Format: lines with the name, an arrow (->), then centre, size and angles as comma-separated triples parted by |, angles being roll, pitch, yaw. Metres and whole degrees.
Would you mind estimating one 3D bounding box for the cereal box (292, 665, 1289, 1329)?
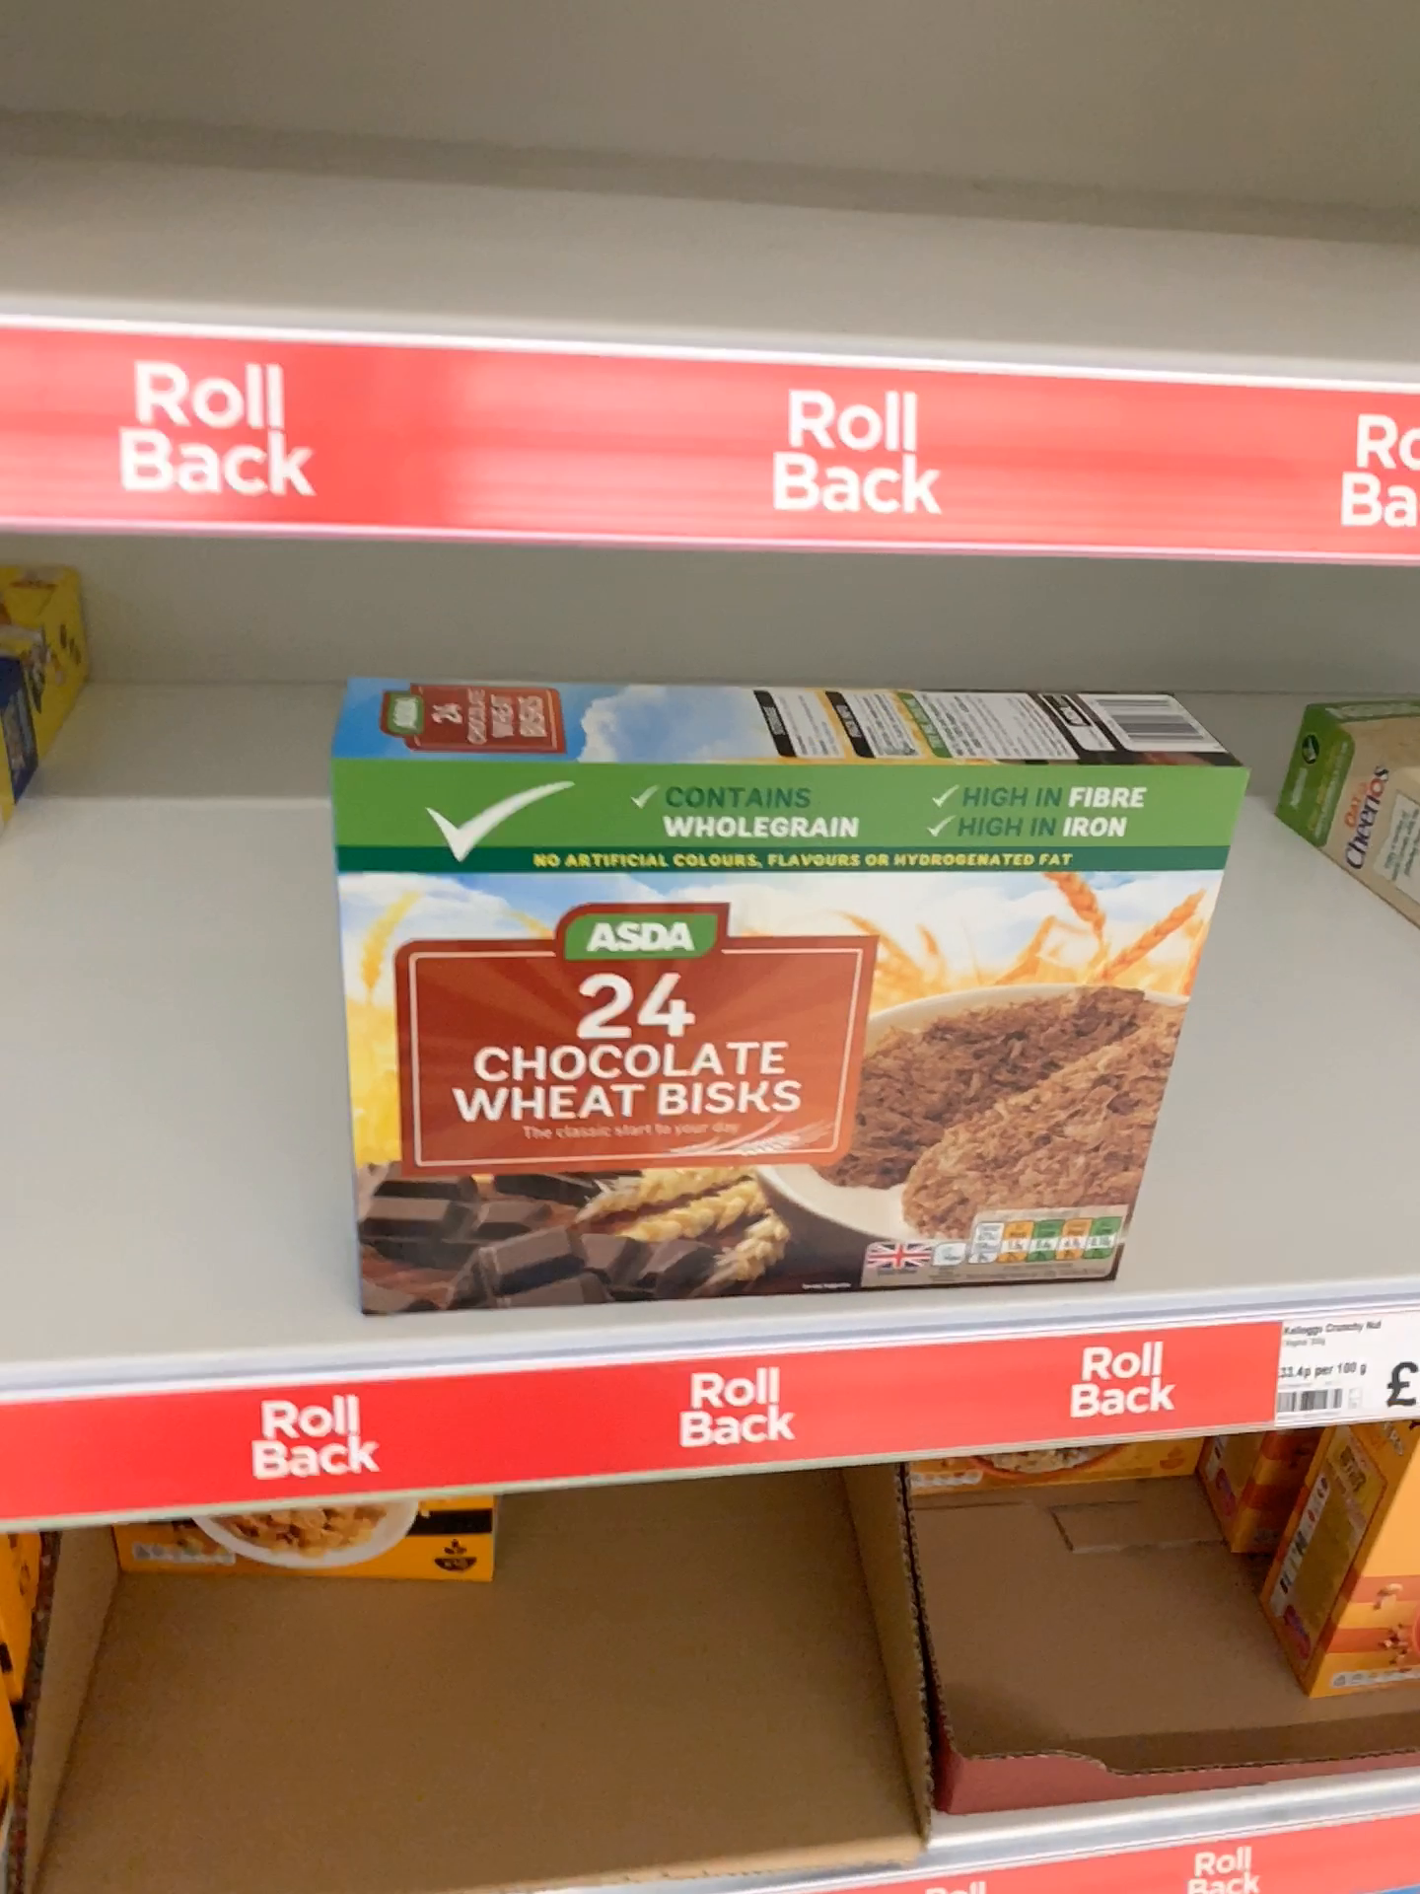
cereal box -> 0.015, 0.017, 0.434 | 0.250, 0.178, 0.071 | 0, 31, -9
